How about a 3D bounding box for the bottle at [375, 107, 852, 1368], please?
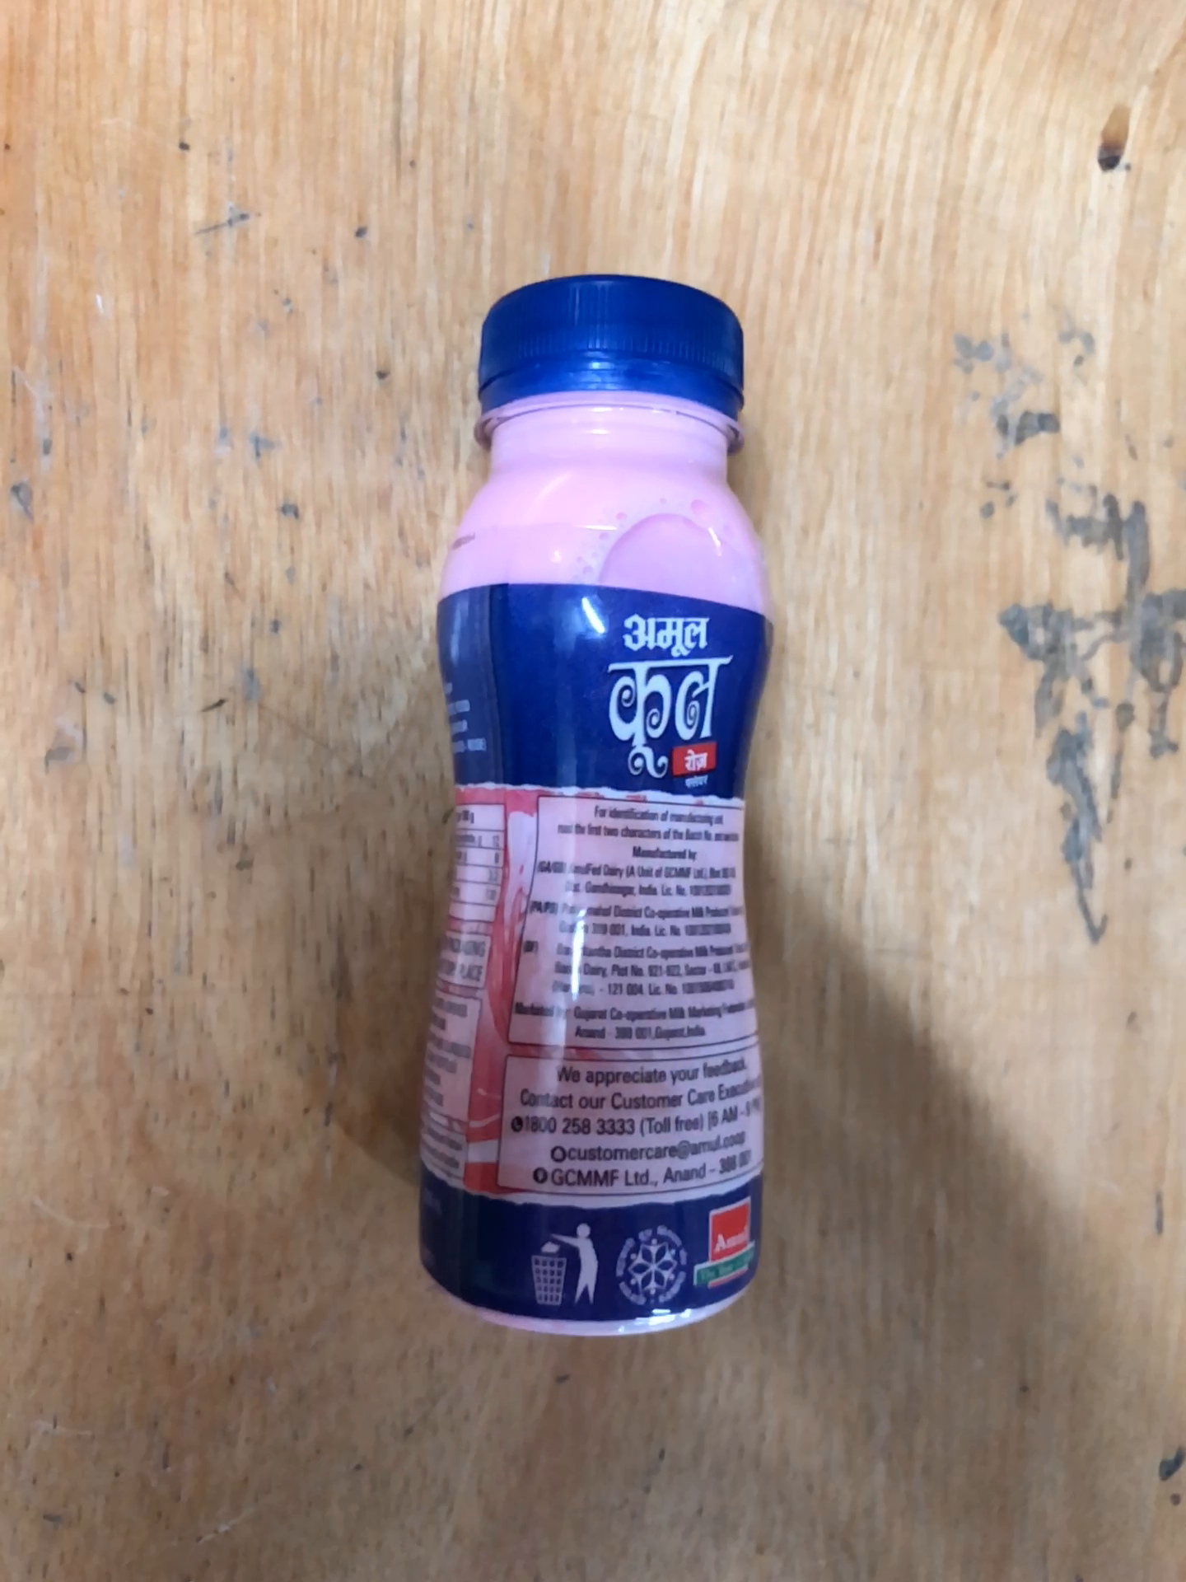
[{"bbox_3d":[0.001,-0.006,0.188,0.050,0.040,0.150,1,91,-26],"label":"bottle"}]
